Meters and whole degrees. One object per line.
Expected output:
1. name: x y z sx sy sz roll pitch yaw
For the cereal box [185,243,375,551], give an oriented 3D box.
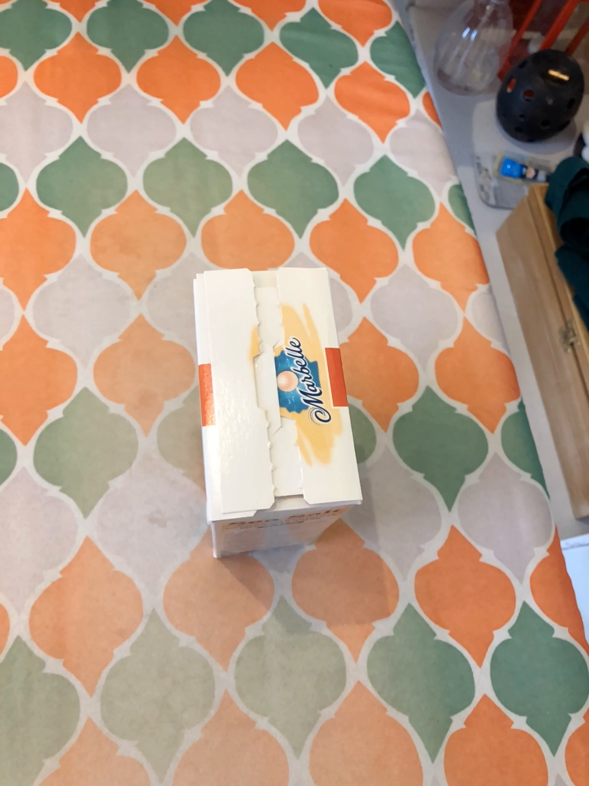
1. cereal box: -0.016 0.016 0.320 0.060 0.169 0.100 -4 72 -8
